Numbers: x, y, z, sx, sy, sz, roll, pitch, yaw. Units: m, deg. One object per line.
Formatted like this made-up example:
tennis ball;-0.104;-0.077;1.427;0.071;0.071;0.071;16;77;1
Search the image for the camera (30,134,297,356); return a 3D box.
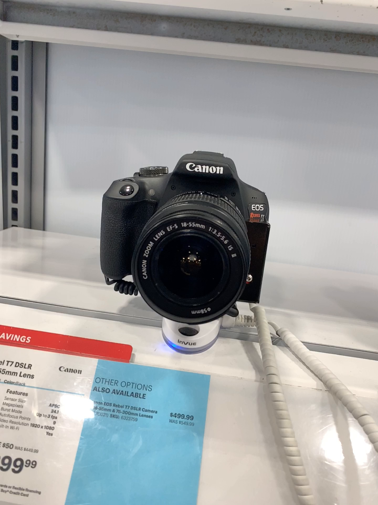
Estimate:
camera;-0.011;-0.020;0.262;0.125;0.100;0.141;6;16;4
